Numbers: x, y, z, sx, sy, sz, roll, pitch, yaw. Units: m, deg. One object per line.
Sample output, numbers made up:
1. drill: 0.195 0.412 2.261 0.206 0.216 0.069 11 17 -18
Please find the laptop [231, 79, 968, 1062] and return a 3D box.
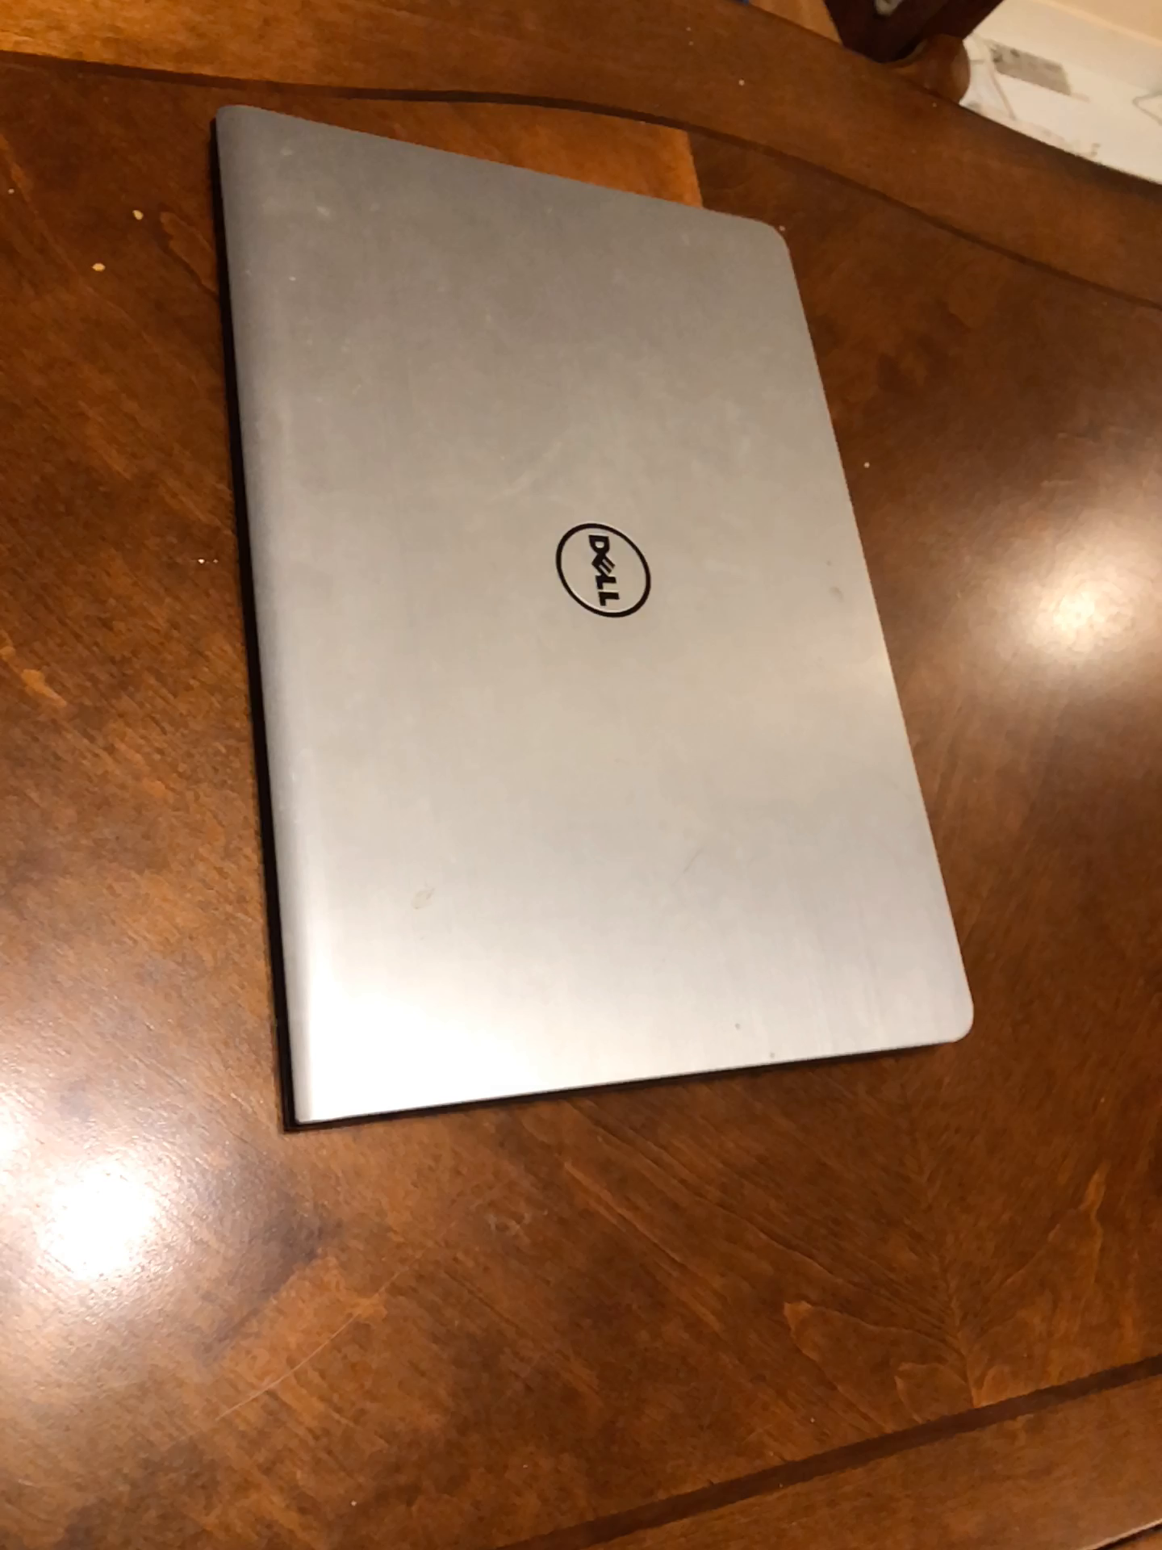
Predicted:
1. laptop: 0.006 -0.090 0.476 0.244 0.002 0.364 0 70 -26
